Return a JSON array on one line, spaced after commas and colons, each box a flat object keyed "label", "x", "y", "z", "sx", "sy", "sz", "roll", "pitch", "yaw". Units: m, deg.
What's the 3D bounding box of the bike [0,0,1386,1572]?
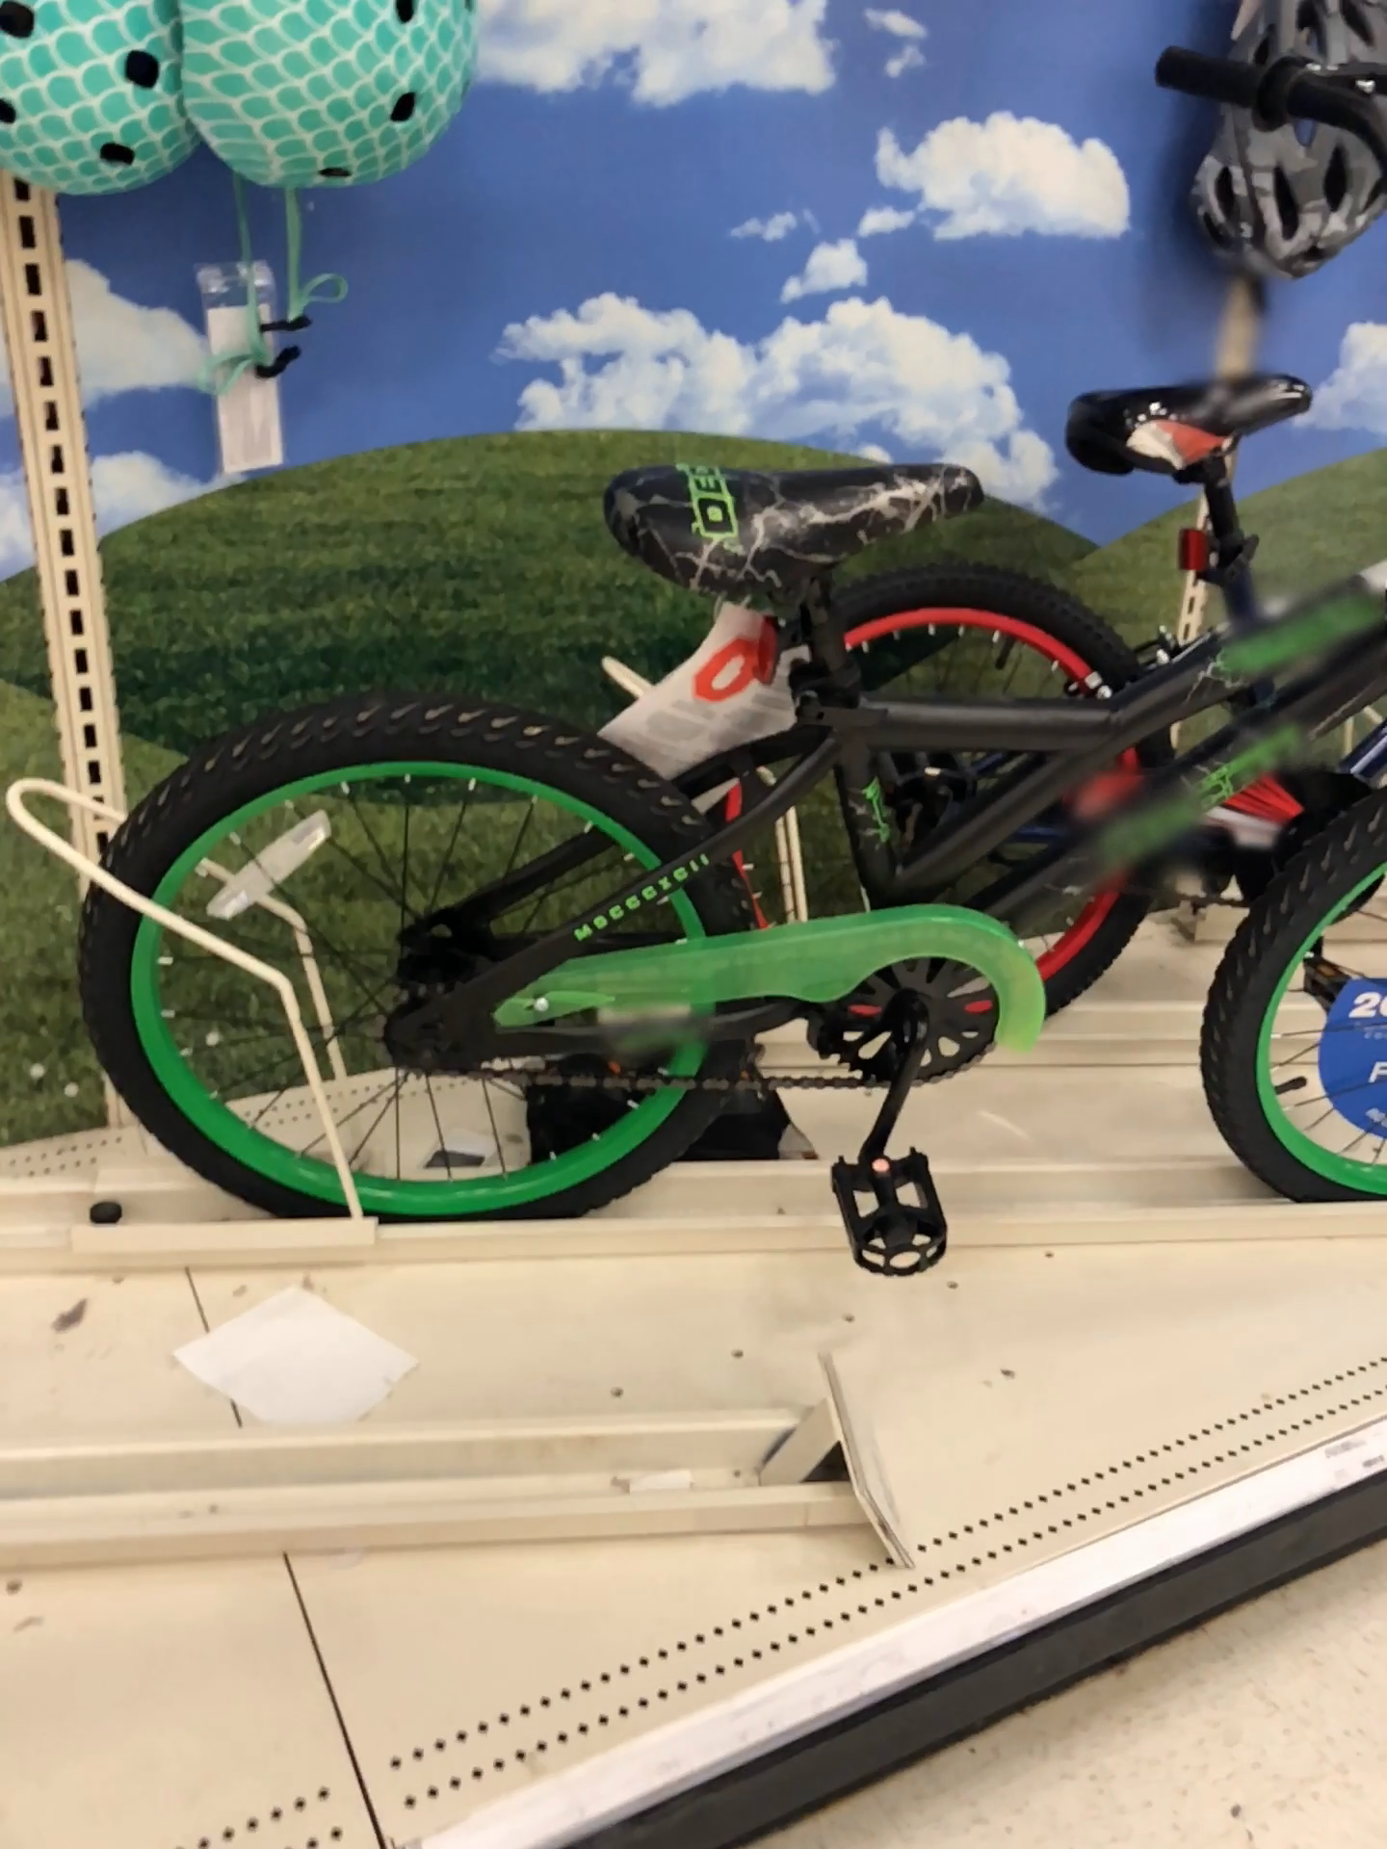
[{"label": "bike", "x": 0.255, "y": -0.163, "z": 1.117, "sx": 1.361, "sy": 0.879, "sz": 0.630, "roll": -1, "pitch": 25, "yaw": -7}]
